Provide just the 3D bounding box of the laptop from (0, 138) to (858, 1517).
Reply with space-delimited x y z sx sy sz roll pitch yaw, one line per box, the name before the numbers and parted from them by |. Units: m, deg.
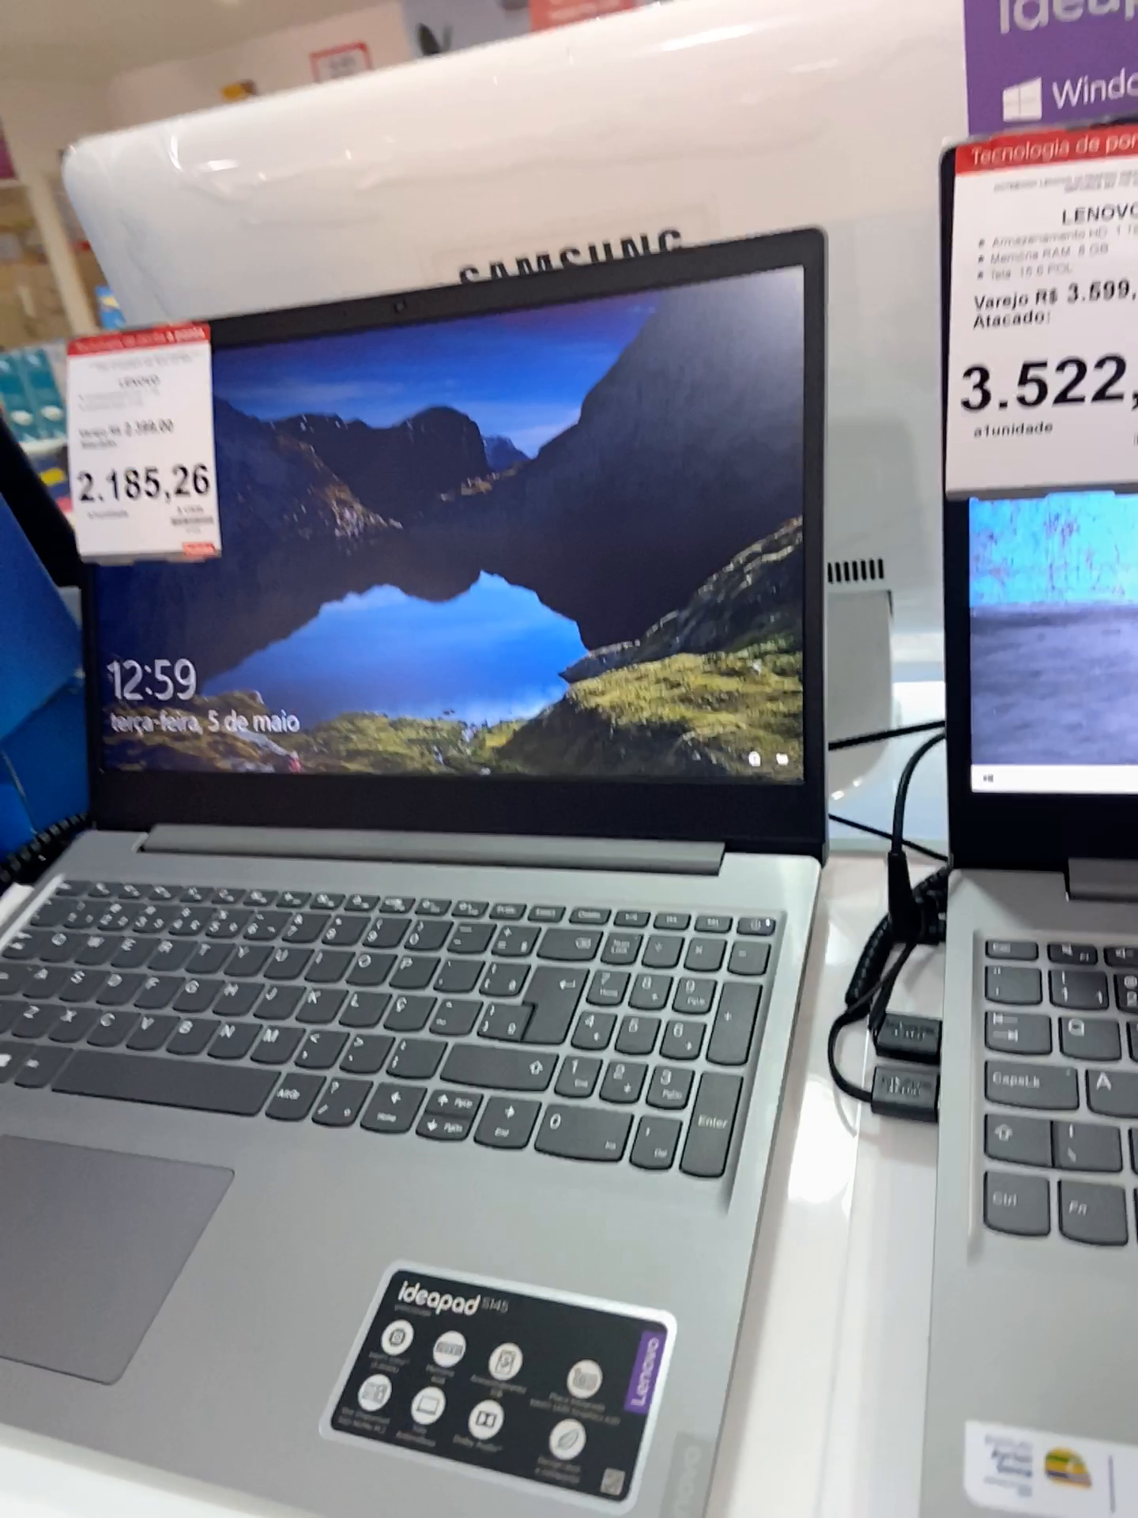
laptop | -0.106 -0.028 0.426 0.358 0.212 0.390 0 36 22
